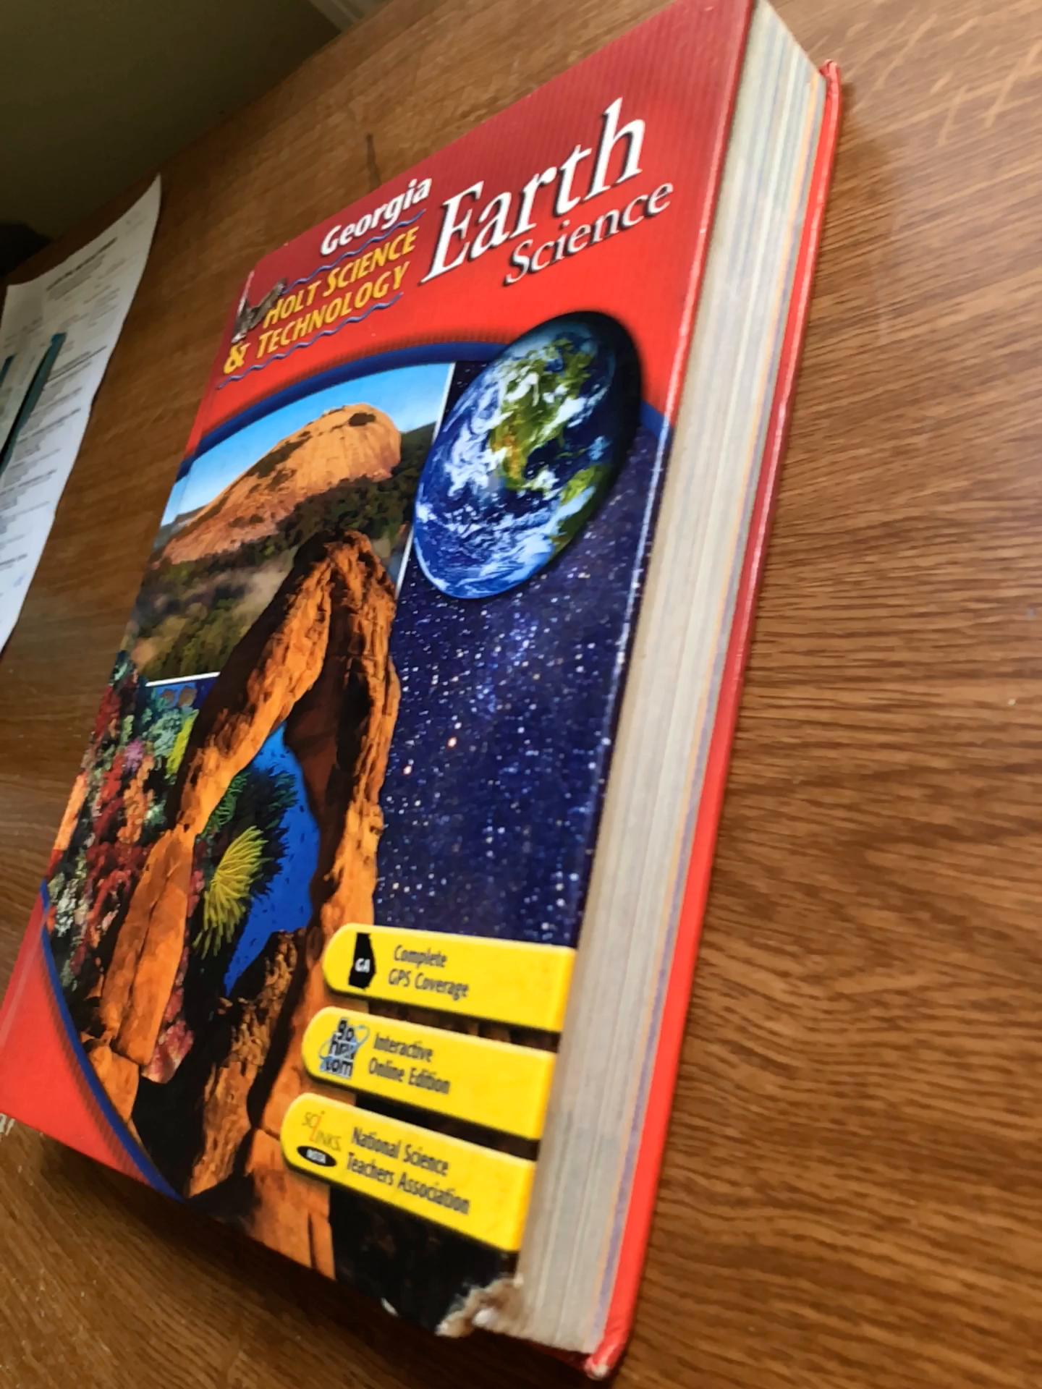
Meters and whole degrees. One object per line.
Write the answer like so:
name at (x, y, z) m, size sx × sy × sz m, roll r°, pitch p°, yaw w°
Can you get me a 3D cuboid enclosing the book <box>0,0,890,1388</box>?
book at (-0.042, -0.009, 0.268) m, size 0.215 × 0.050 × 0.266 m, roll -5°, pitch 65°, yaw 45°
